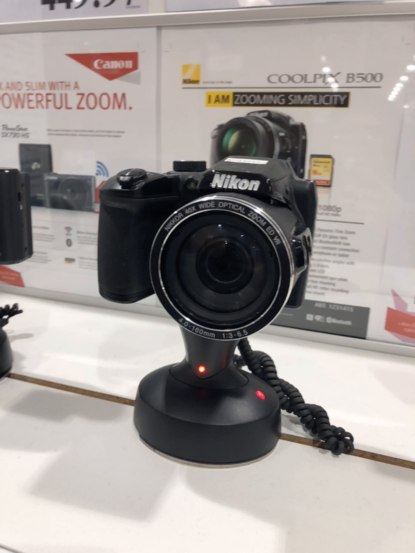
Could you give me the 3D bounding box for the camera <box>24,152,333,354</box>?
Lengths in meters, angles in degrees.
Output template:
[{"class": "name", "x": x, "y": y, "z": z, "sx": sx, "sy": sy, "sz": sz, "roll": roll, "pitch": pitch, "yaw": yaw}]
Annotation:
[{"class": "camera", "x": -0.005, "y": -0.023, "z": 0.231, "sx": 0.120, "sy": 0.070, "sz": 0.100, "roll": 7, "pitch": 16, "yaw": 16}]
